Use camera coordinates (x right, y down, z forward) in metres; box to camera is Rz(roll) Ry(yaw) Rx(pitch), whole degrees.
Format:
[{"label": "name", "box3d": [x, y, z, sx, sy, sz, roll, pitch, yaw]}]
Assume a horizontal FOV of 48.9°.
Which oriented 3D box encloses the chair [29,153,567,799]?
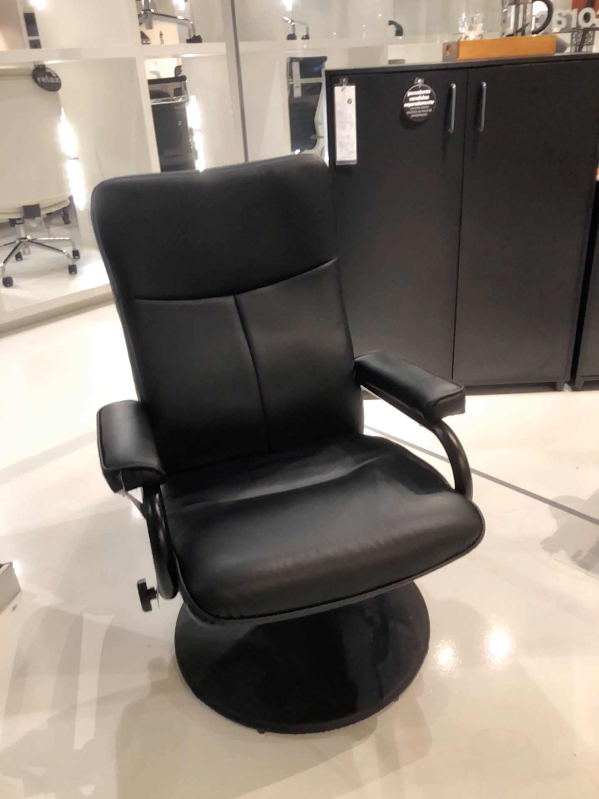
[{"label": "chair", "box3d": [-0.057, 0.095, 1.325, 0.691, 0.993, 0.735, -12, 27, -16]}]
